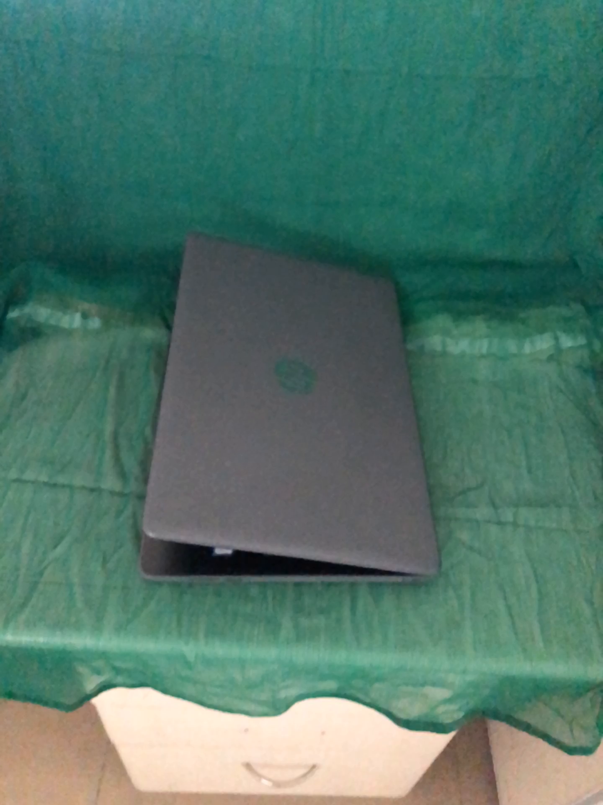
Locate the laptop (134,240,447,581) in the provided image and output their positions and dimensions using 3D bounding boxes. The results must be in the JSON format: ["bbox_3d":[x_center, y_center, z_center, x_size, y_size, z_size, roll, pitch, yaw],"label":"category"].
[{"bbox_3d":[-0.010,-0.015,0.635,0.231,0.067,0.361,2,49,-2],"label":"laptop"}]
